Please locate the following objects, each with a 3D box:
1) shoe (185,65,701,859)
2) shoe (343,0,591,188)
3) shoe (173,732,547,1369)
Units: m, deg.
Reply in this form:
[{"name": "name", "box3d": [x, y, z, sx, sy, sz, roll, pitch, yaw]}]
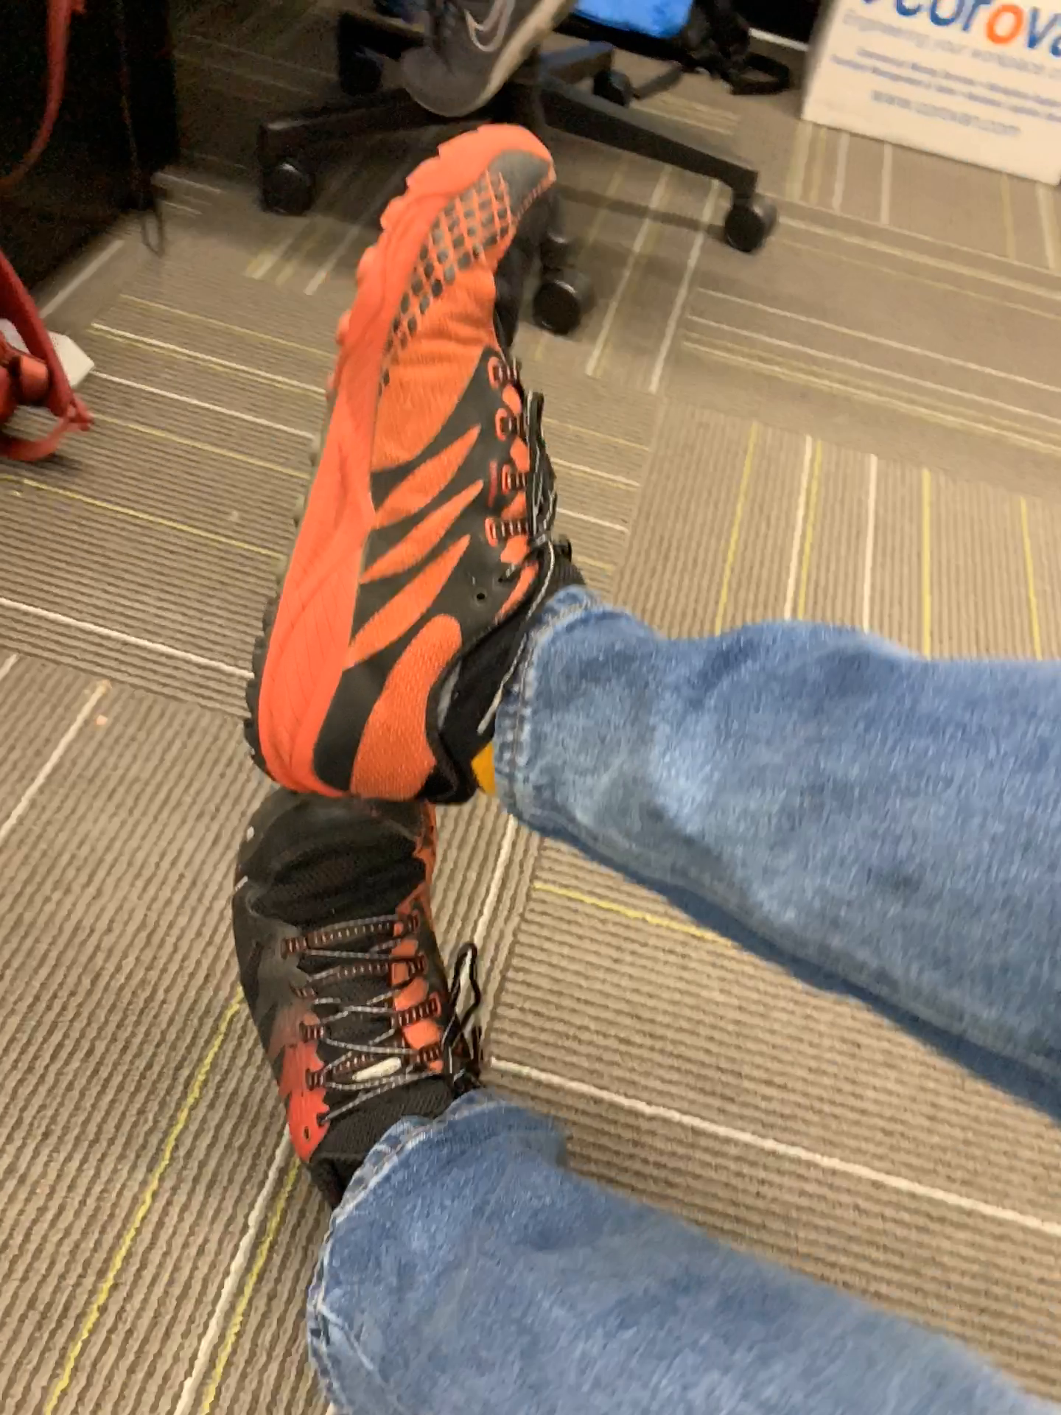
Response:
[{"name": "shoe", "box3d": [-0.046, -0.105, 0.524, 0.142, 0.303, 0.118, 17, 16, -5]}, {"name": "shoe", "box3d": [-0.103, -0.978, 1.626, 0.164, 0.355, 0.156, 36, 62, -24]}, {"name": "shoe", "box3d": [-0.100, 0.171, 0.614, 0.129, 0.135, 0.289, -12, 95, -22]}]
